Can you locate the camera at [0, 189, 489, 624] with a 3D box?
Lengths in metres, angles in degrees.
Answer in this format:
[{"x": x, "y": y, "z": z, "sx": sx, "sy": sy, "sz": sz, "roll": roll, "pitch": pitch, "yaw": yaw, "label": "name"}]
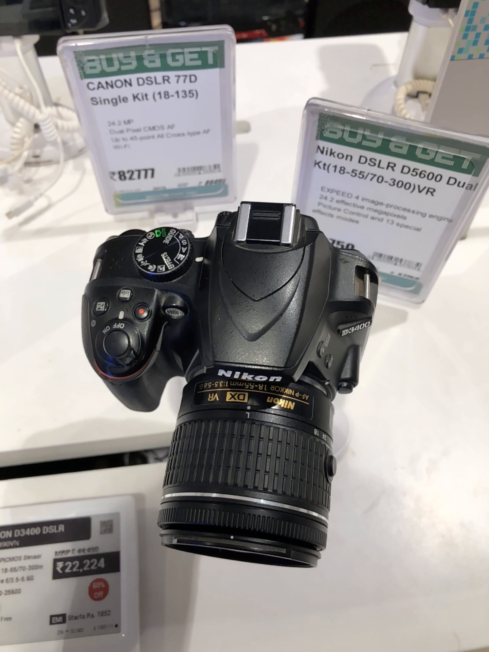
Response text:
[{"x": 0.000, "y": 0.031, "z": 0.197, "sx": 0.130, "sy": 0.090, "sz": 0.121, "roll": 4, "pitch": 59, "yaw": 2, "label": "camera"}]
